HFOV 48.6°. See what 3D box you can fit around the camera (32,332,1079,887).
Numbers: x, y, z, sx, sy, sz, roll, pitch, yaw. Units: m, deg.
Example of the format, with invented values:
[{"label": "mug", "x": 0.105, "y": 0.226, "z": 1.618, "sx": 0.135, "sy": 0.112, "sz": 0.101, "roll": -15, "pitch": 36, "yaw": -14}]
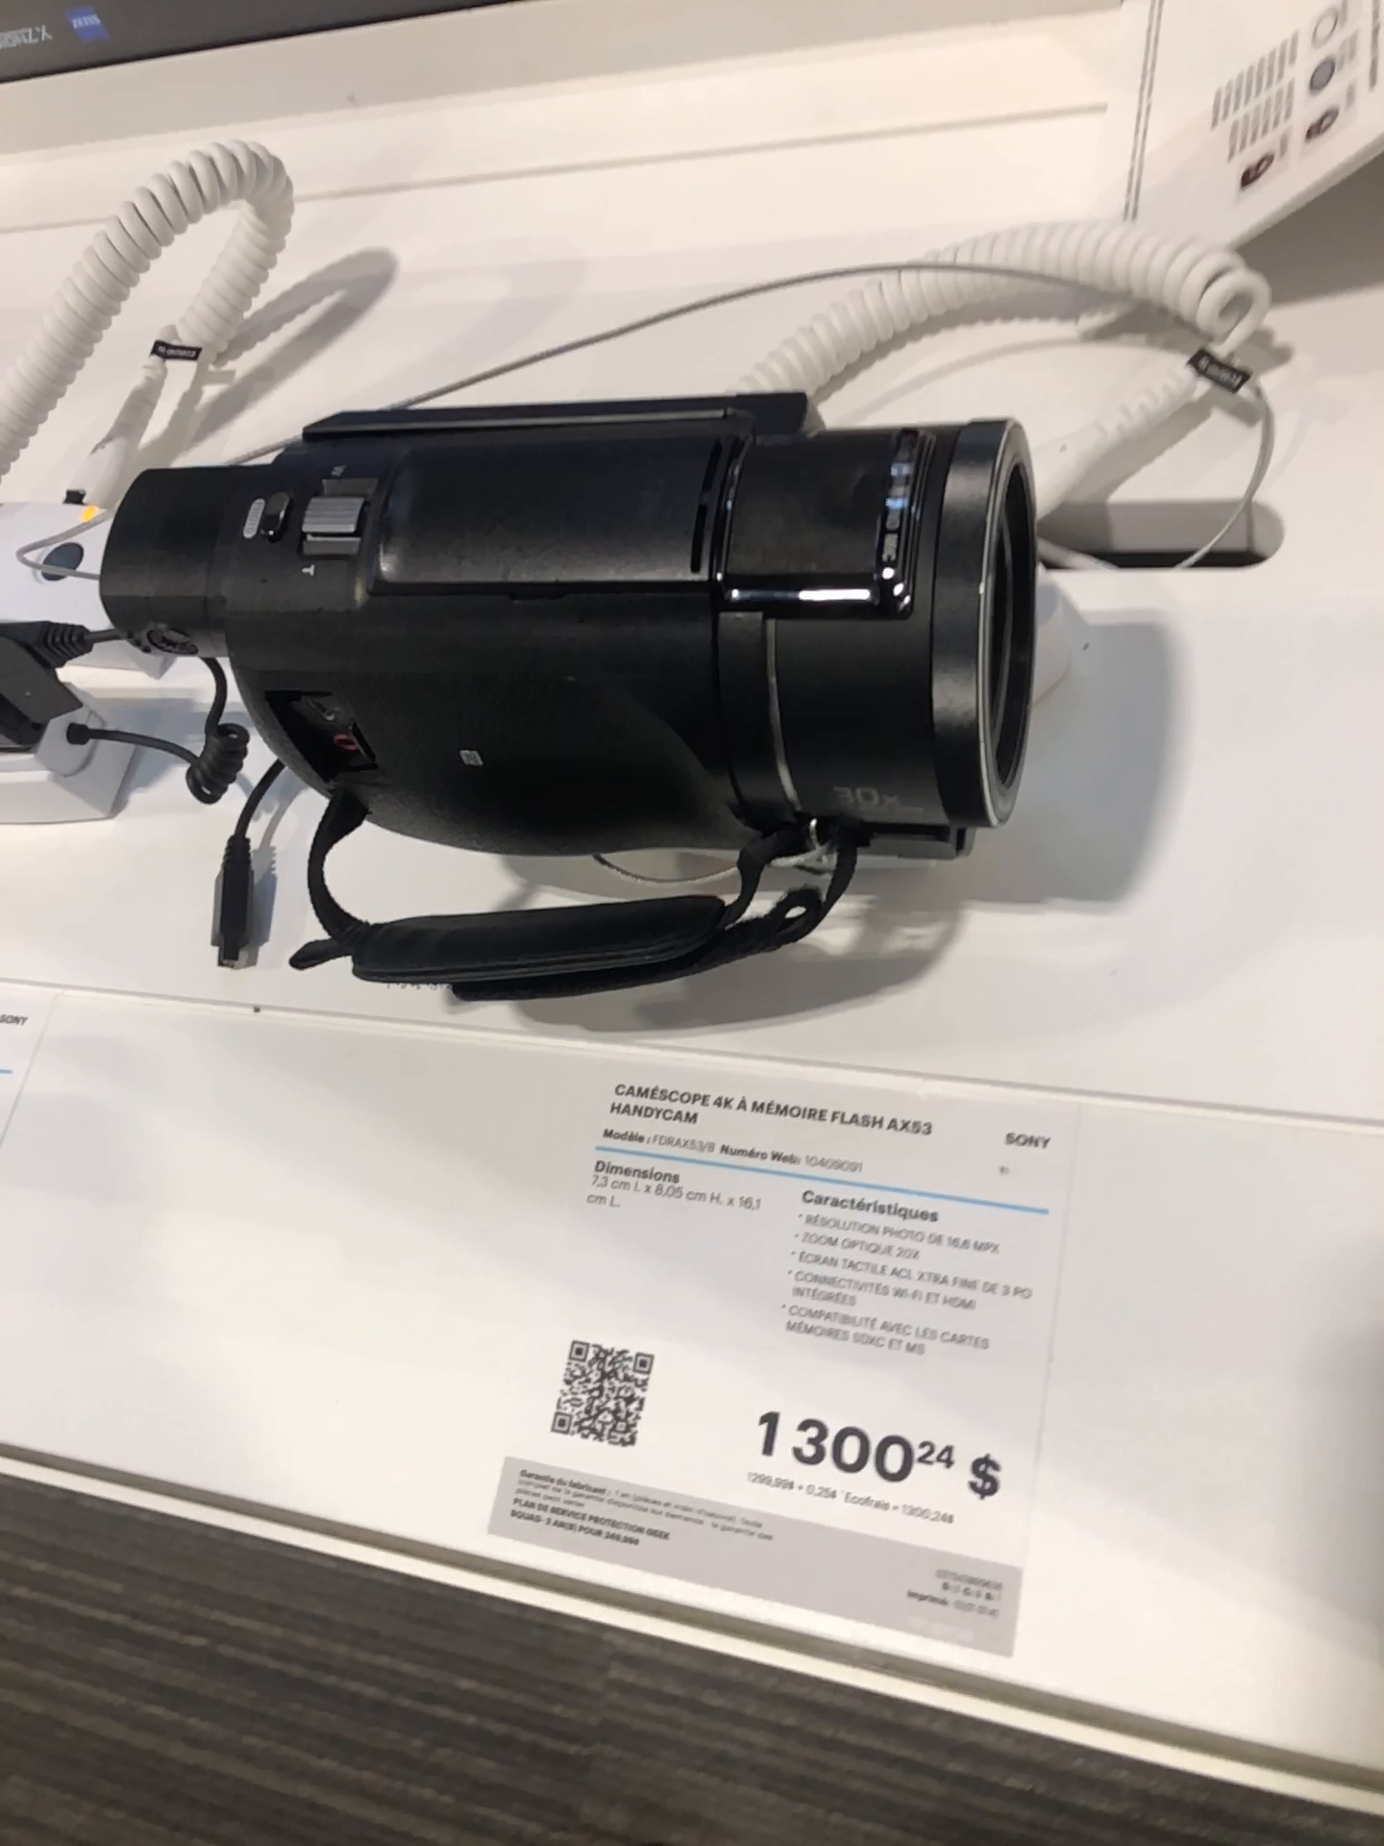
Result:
[{"label": "camera", "x": -0.021, "y": -0.053, "z": 0.279, "sx": 0.168, "sy": 0.066, "sz": 0.061, "roll": 4, "pitch": 65, "yaw": 21}]
